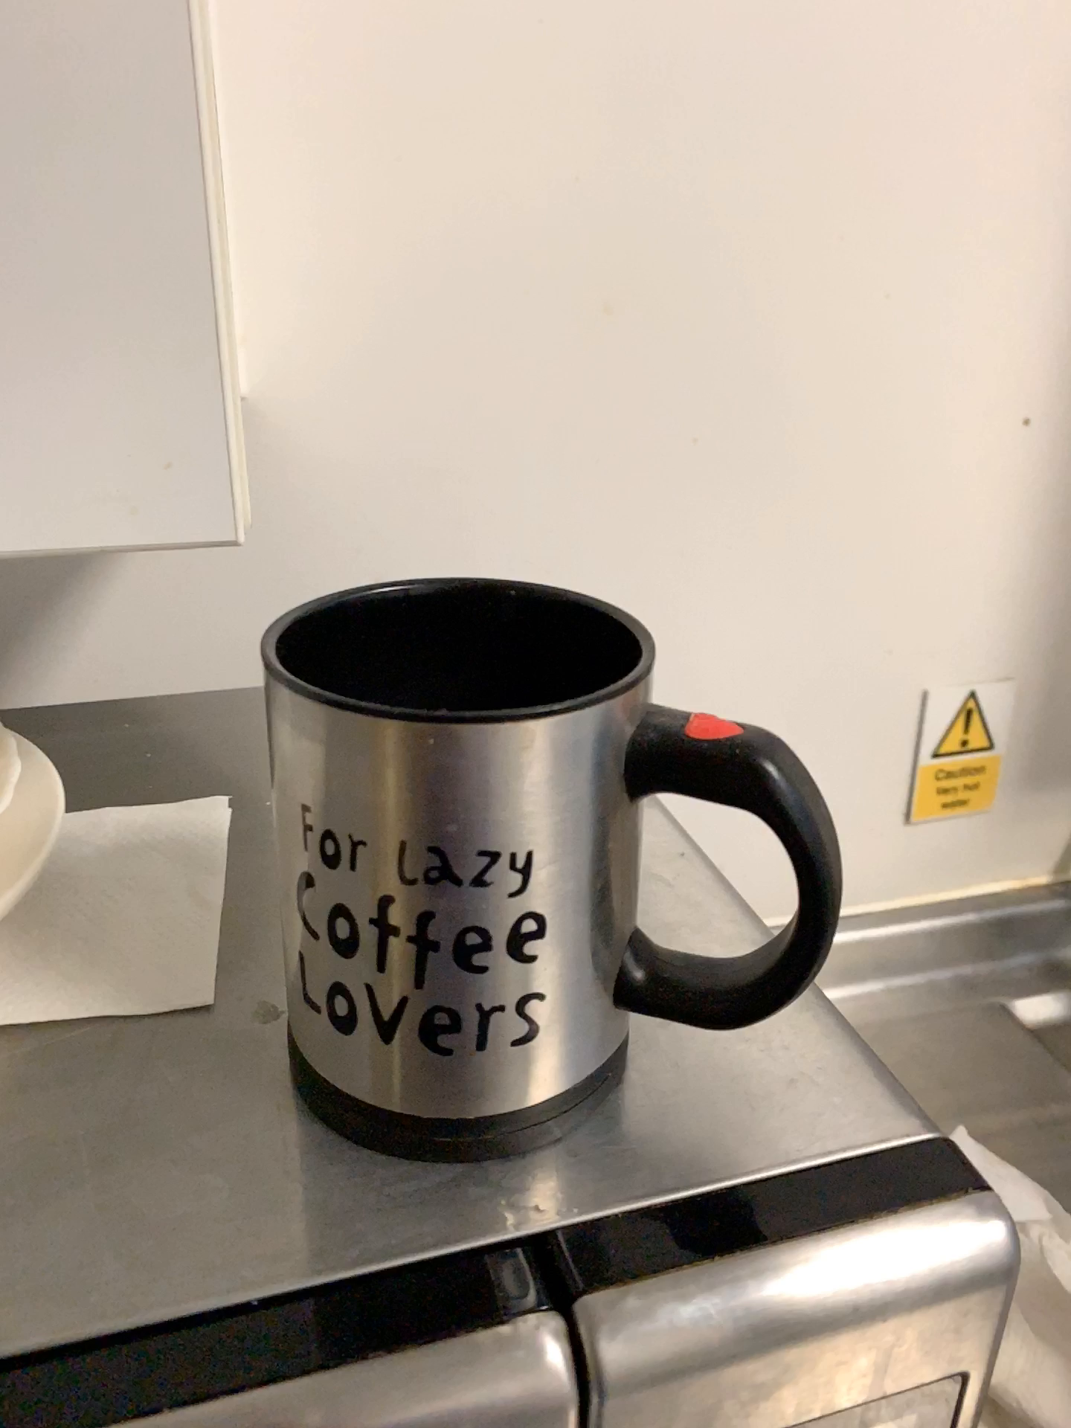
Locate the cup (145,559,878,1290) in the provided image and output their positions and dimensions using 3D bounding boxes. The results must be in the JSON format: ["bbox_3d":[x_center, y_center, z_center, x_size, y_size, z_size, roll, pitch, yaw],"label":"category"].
[{"bbox_3d":[-0.001,0.035,0.263,0.133,0.108,0.096,10,24,22],"label":"cup"}]
